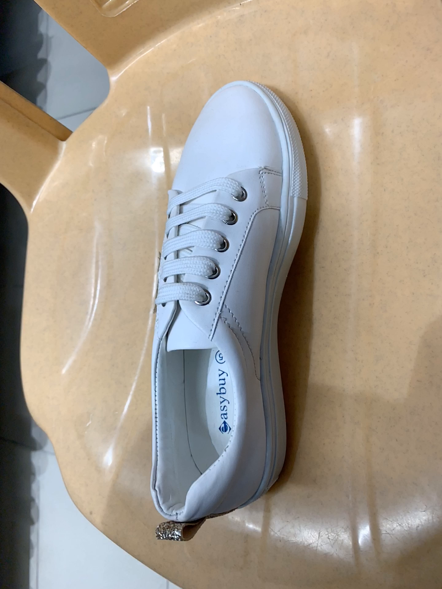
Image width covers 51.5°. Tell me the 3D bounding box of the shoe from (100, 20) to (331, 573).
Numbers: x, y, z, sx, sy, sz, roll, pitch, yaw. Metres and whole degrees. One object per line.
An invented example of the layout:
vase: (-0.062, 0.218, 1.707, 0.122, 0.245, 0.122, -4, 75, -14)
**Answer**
shoe: (-0.001, 0.001, 0.261, 0.090, 0.090, 0.240, -3, 88, 33)
